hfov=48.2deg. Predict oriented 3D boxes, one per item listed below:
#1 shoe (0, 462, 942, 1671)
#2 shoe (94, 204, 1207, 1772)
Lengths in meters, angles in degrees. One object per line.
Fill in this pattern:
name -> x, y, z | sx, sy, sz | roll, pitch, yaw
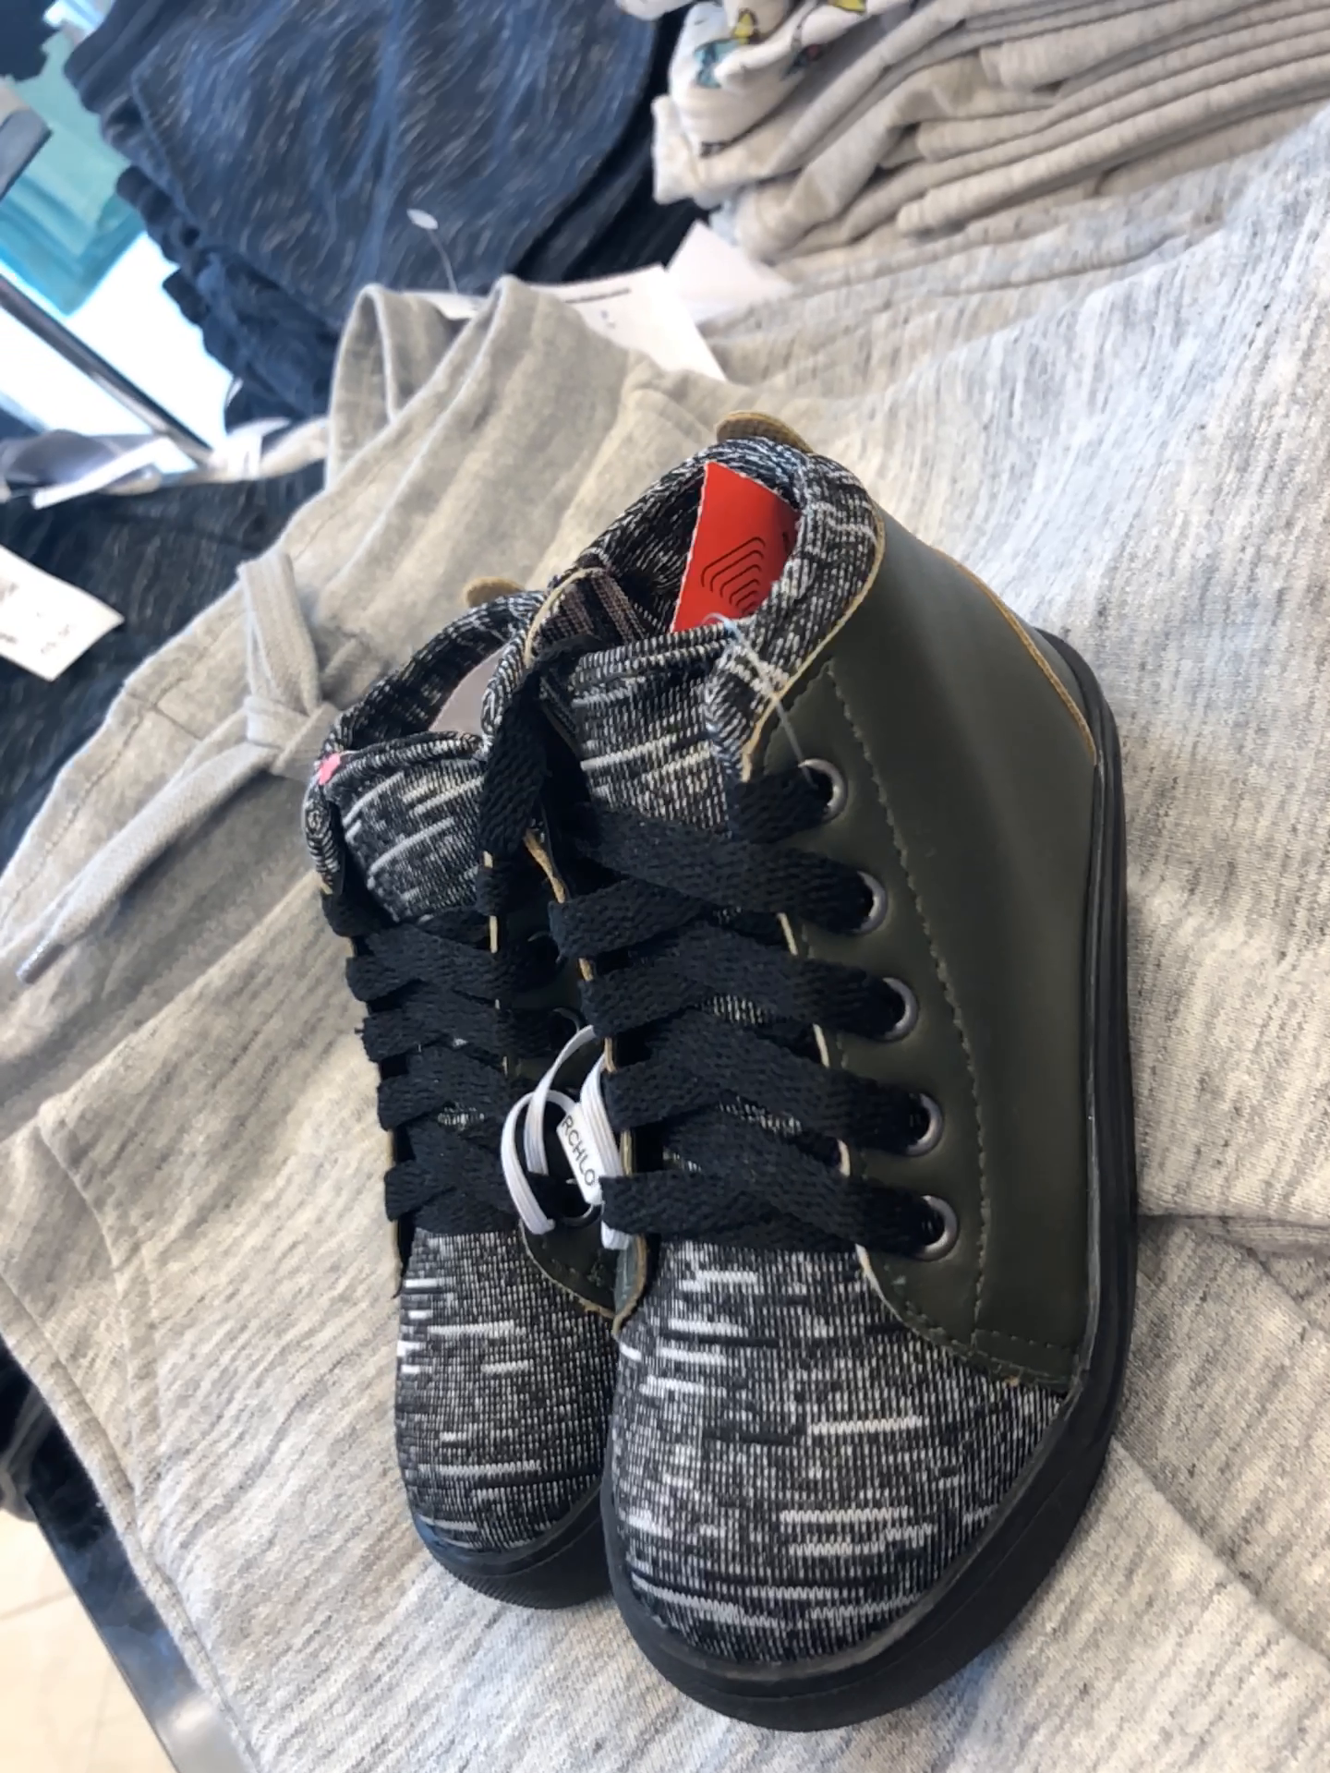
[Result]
shoe -> -0.023, 0.029, 0.251 | 0.080, 0.089, 0.160 | -7, 58, 40
shoe -> 0.014, 0.015, 0.202 | 0.080, 0.089, 0.170 | -9, 56, 38
